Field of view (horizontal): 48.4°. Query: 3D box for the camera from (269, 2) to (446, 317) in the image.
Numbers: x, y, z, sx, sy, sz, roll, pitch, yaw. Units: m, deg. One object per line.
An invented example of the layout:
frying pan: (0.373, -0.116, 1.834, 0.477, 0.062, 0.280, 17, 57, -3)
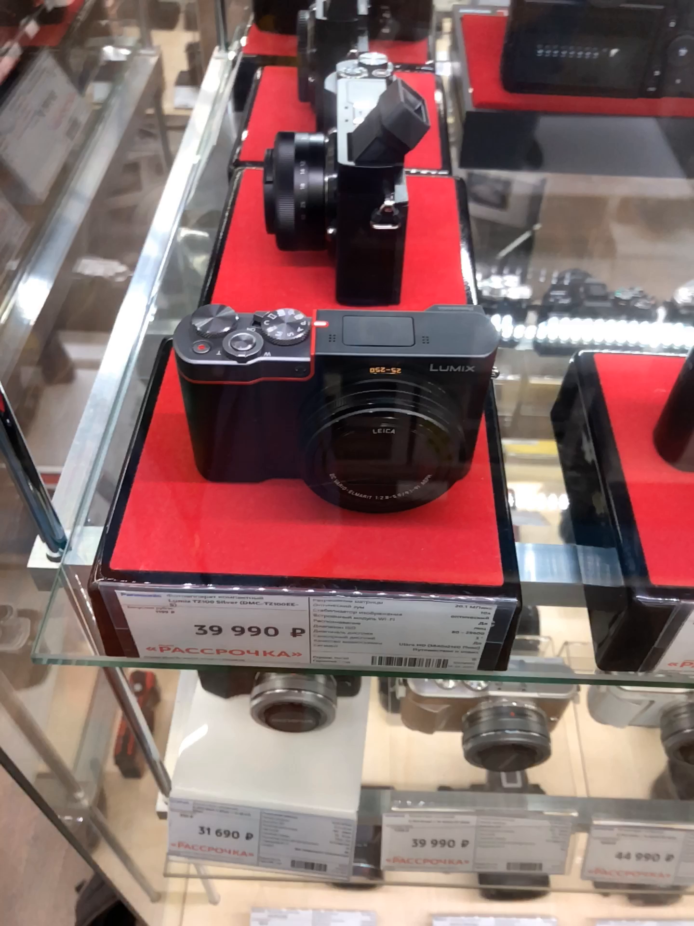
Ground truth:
camera: (0.004, -0.148, 0.377, 0.069, 0.101, 0.113, 1, 49, 0)

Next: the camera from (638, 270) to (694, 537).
camera: (0.175, -0.020, 0.272, 0.113, 0.070, 0.051, 4, 49, 2)

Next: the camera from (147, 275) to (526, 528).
camera: (-0.003, -0.020, 0.272, 0.113, 0.070, 0.050, 2, 49, 1)
